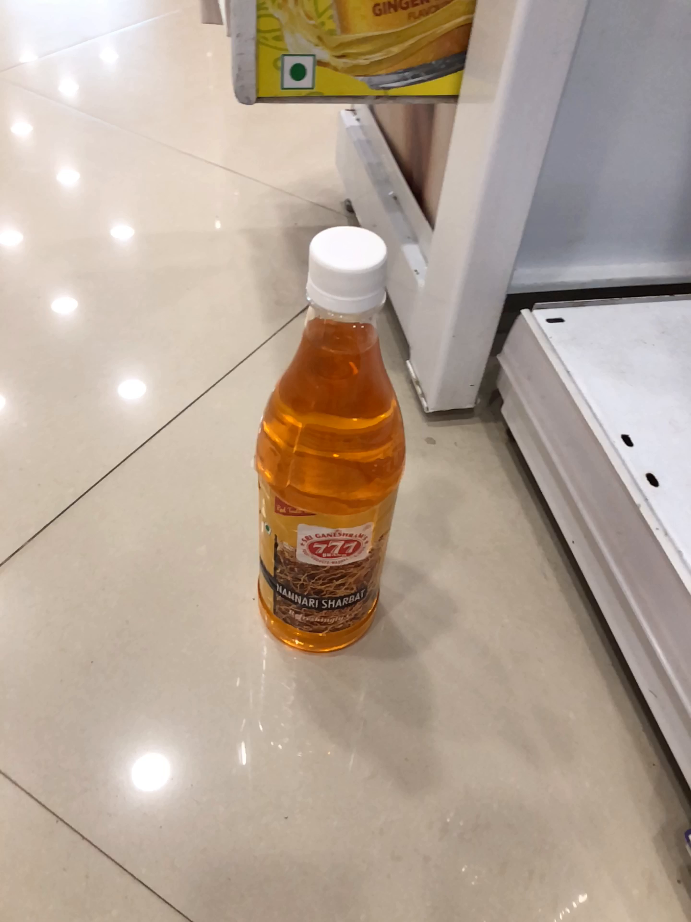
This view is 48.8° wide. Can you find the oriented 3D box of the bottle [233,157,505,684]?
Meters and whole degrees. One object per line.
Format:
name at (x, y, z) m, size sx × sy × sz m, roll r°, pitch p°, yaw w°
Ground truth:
bottle at (-0.002, 0.004, 0.422) m, size 0.100 × 0.298 × 0.101 m, roll 3°, pitch 47°, yaw -3°
